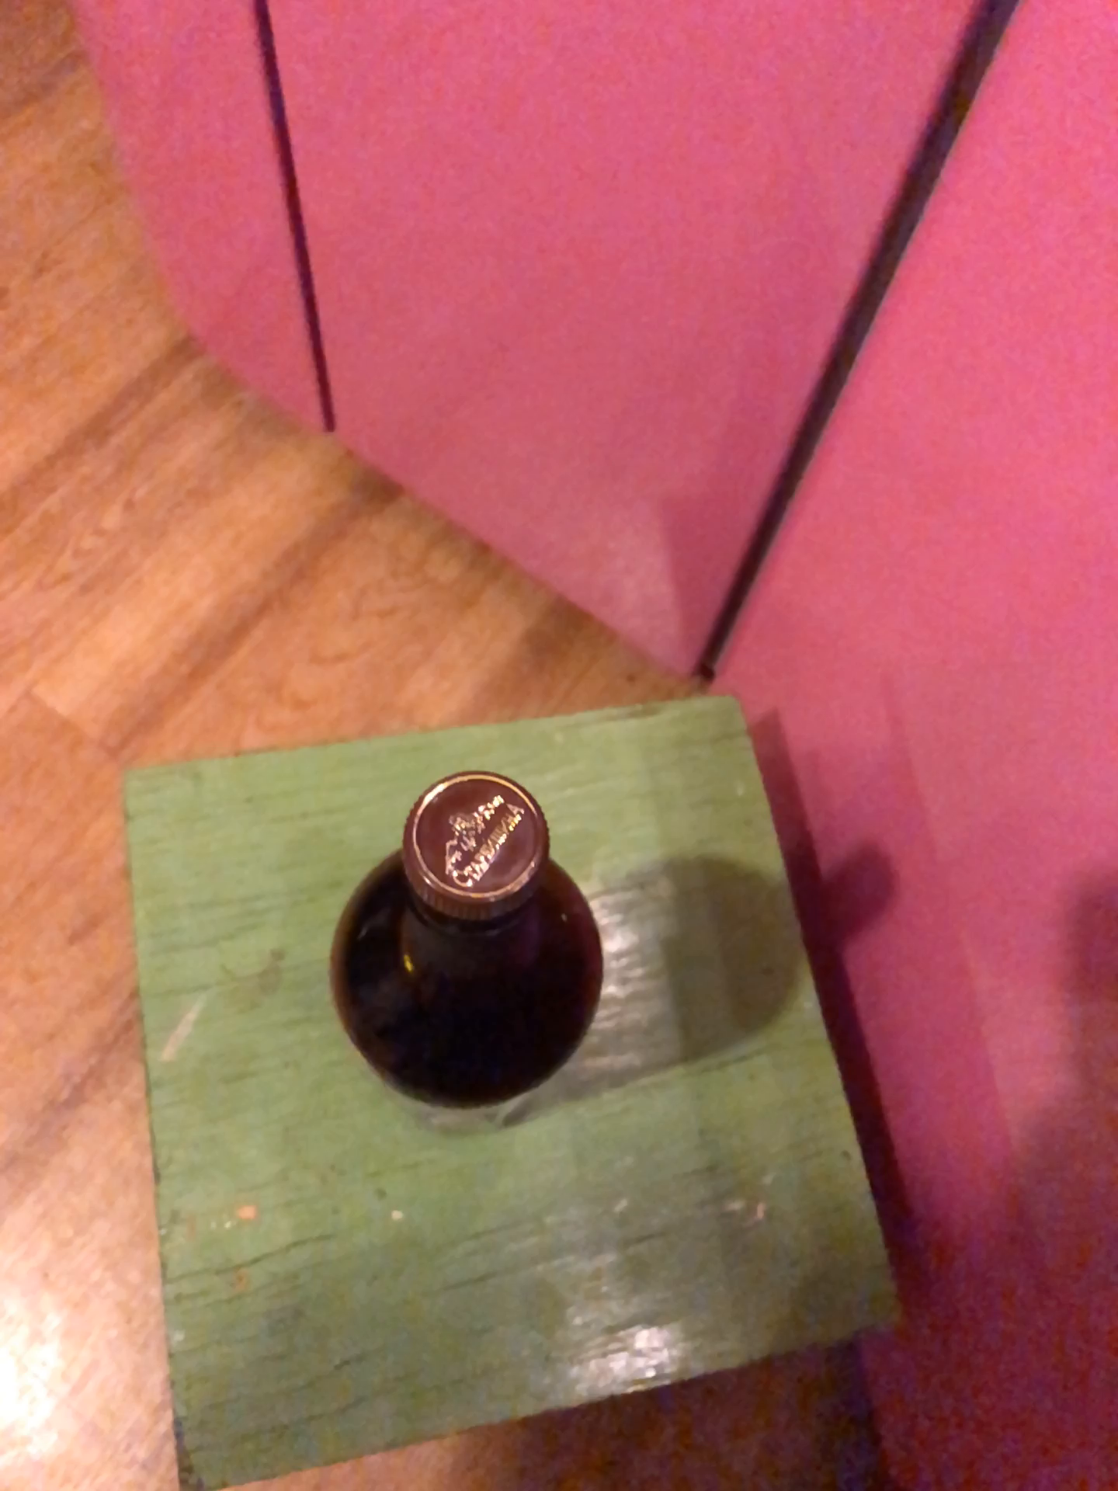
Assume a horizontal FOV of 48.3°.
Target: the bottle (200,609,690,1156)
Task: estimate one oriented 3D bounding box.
[{"bbox_3d":[-0.031,0.069,0.376,0.071,0.302,0.072,2,69,-4],"label":"bottle"}]
